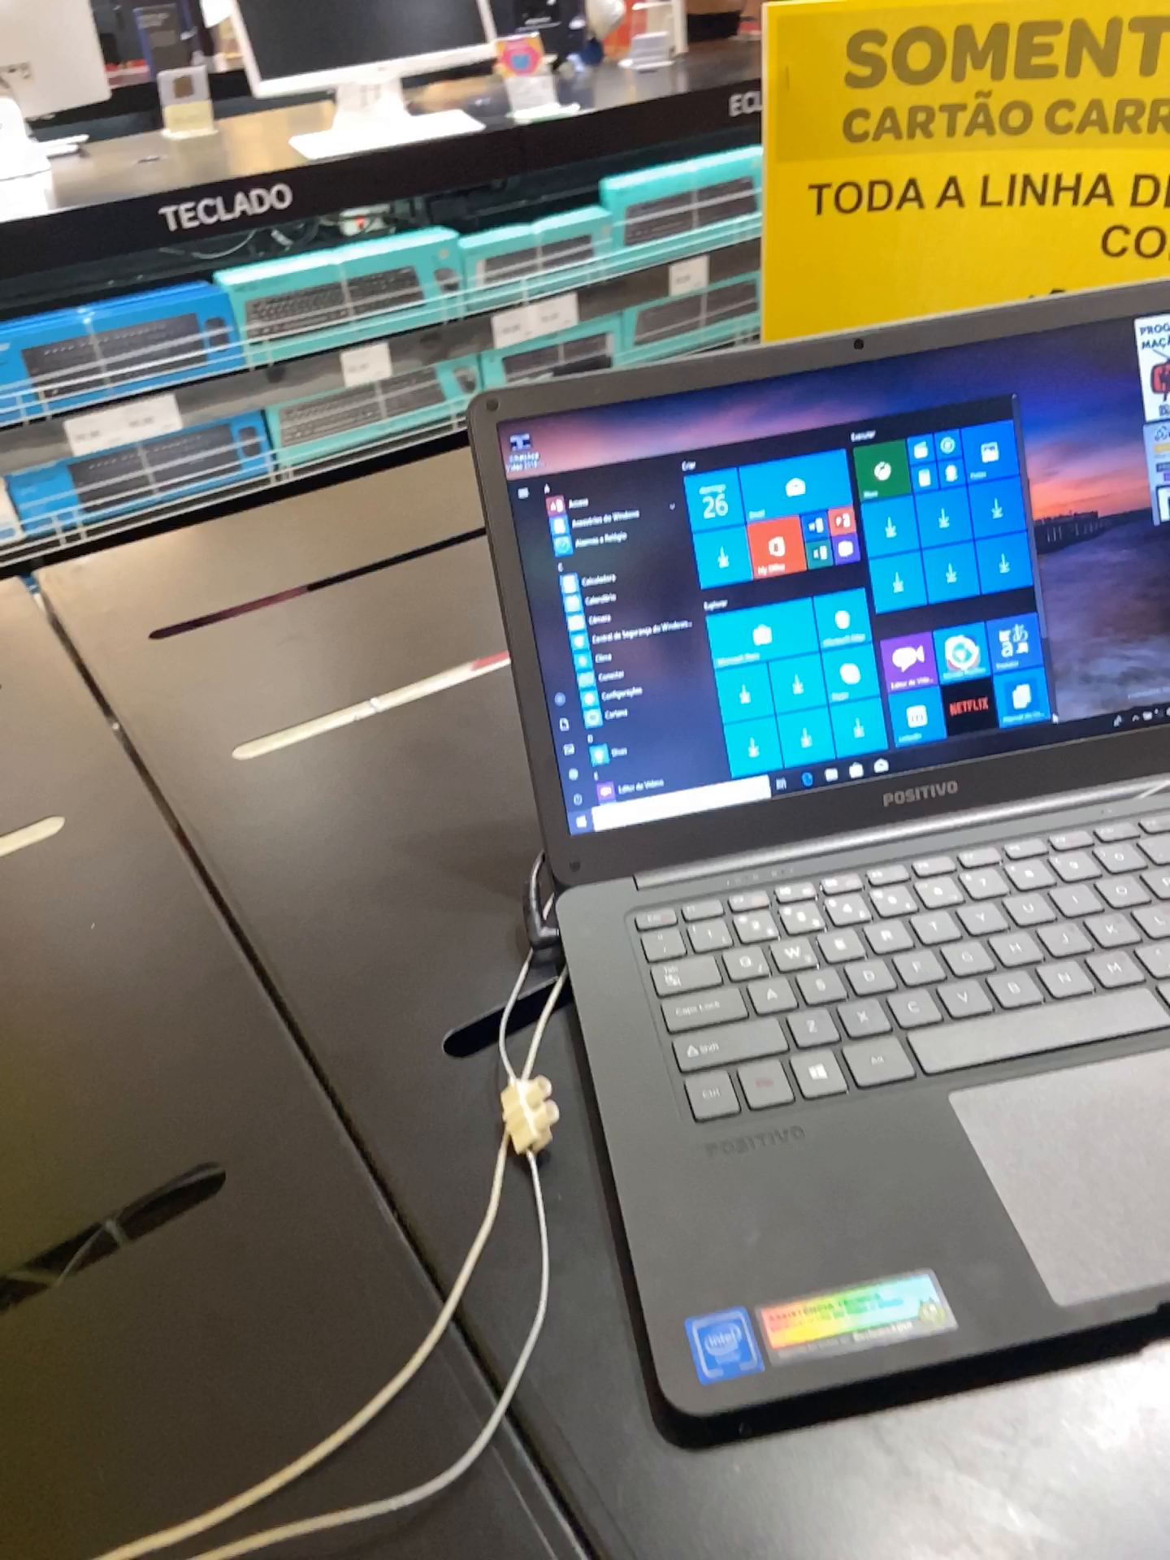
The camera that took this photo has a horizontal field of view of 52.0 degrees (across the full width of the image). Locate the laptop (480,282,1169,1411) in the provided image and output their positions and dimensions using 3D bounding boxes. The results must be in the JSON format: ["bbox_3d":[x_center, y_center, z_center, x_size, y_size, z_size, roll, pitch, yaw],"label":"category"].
[{"bbox_3d":[0.138,-0.019,0.381,0.296,0.159,0.293,-10,36,-4],"label":"laptop"}]
